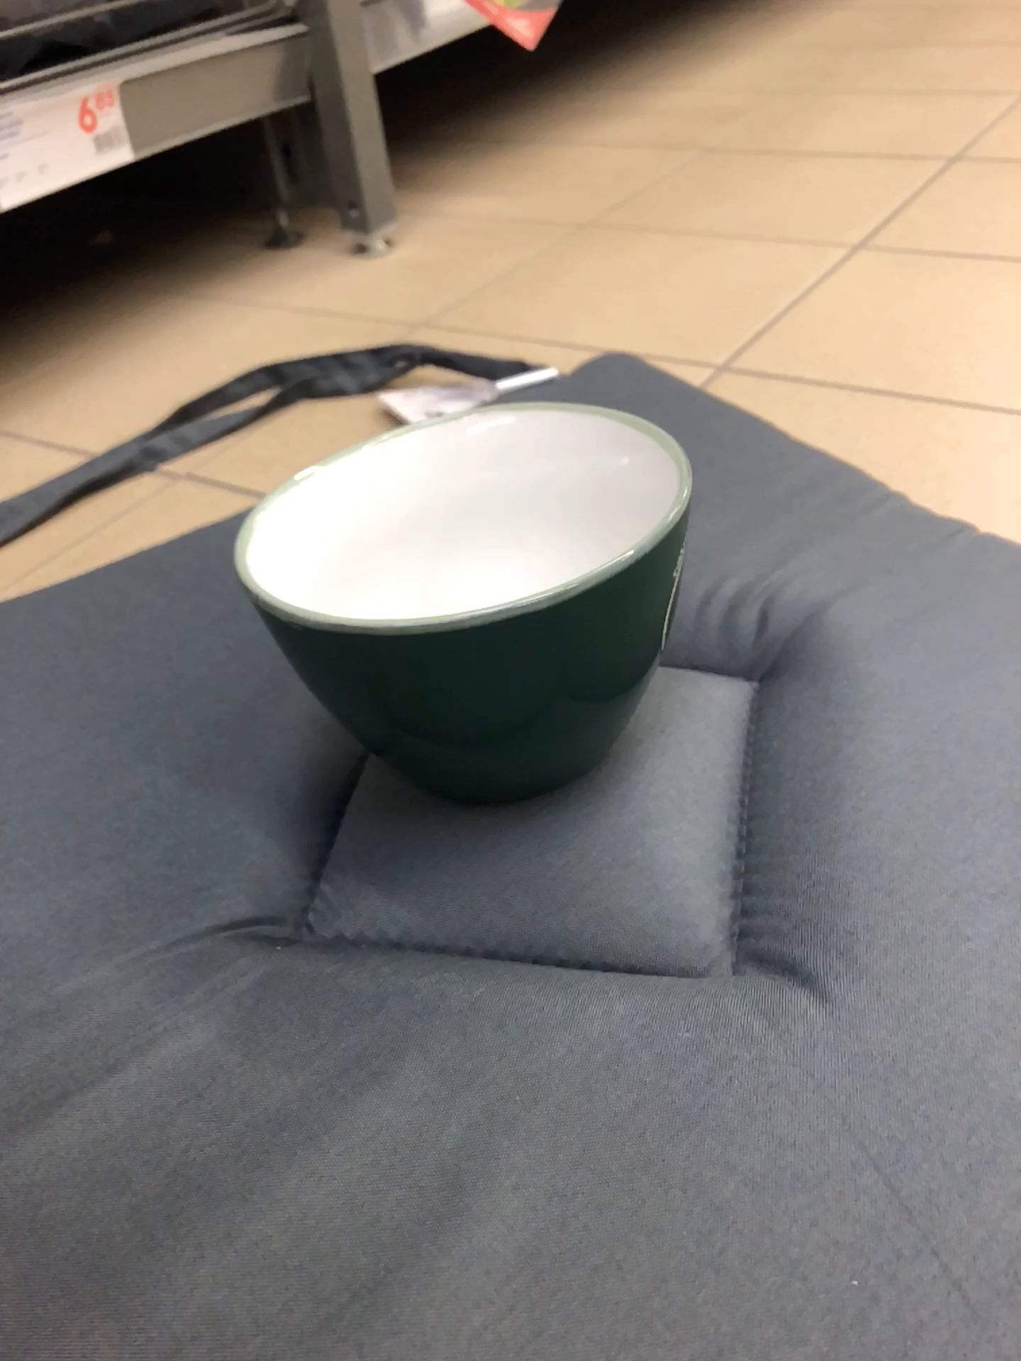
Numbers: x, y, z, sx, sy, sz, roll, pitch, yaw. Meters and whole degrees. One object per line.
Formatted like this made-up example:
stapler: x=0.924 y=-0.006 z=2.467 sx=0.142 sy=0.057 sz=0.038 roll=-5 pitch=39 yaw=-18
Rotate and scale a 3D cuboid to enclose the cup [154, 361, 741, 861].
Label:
cup: x=-0.007 y=-0.024 z=0.299 sx=0.120 sy=0.060 sz=0.131 roll=-5 pitch=38 yaw=4
